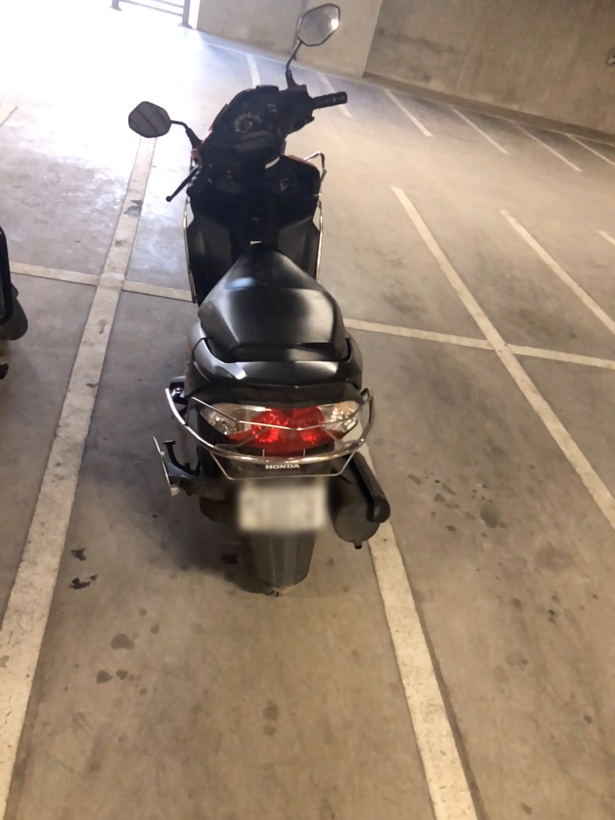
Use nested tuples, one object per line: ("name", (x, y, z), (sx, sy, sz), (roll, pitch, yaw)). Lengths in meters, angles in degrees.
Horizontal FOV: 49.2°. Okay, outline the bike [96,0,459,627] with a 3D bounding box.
("bike", (-0.279, -0.554, 2.207), (0.582, 1.187, 1.960), (5, 40, -16))
